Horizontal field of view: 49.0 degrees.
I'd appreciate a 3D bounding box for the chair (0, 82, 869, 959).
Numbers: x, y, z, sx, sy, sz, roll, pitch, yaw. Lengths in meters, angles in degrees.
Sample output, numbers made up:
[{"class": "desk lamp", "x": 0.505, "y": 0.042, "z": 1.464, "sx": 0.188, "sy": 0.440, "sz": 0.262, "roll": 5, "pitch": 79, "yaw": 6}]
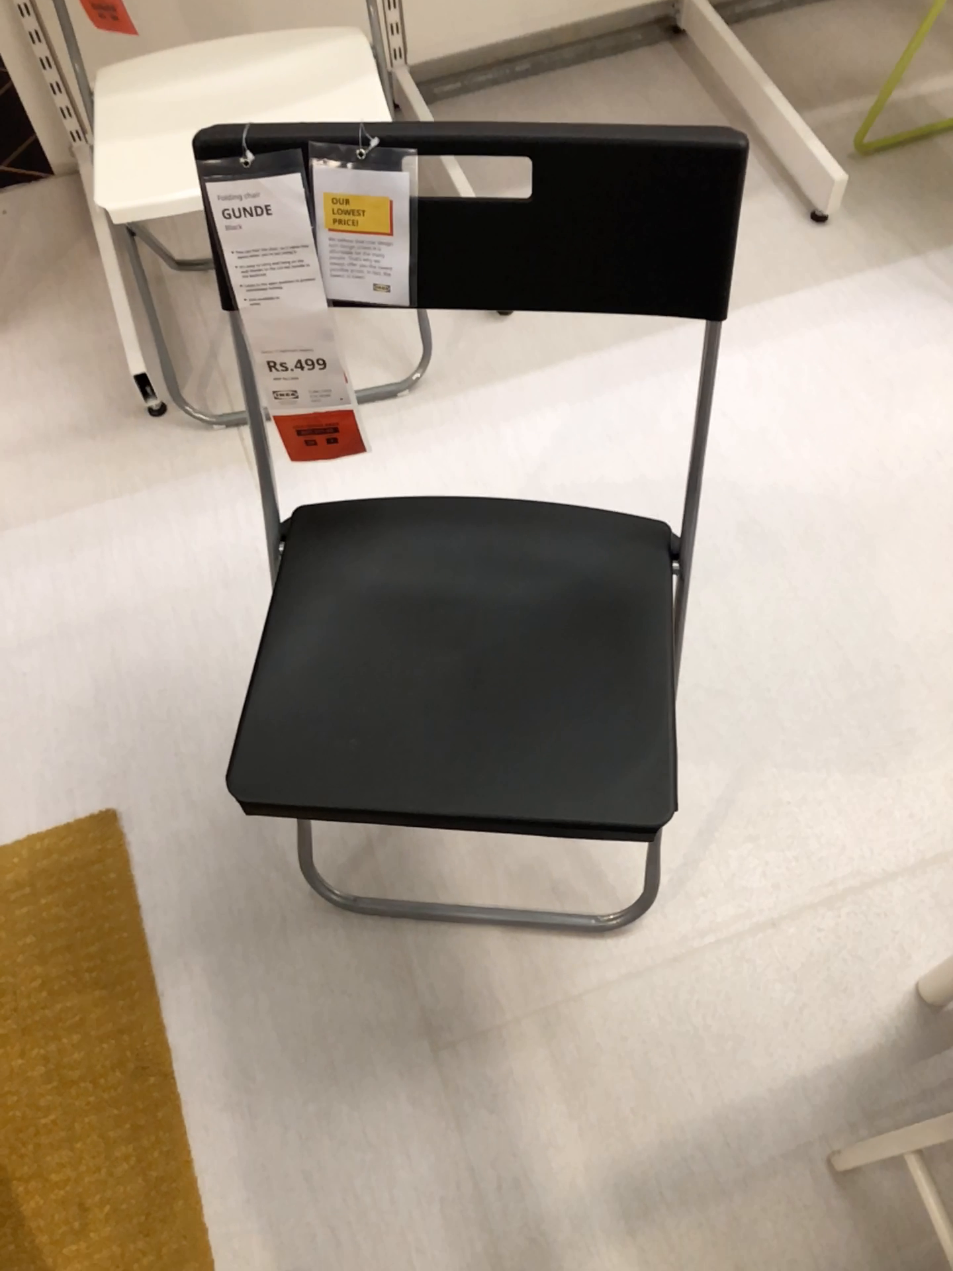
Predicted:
[{"class": "chair", "x": -0.008, "y": -0.025, "z": 1.022, "sx": 0.500, "sy": 0.786, "sz": 0.462, "roll": 2, "pitch": 60, "yaw": 5}]
